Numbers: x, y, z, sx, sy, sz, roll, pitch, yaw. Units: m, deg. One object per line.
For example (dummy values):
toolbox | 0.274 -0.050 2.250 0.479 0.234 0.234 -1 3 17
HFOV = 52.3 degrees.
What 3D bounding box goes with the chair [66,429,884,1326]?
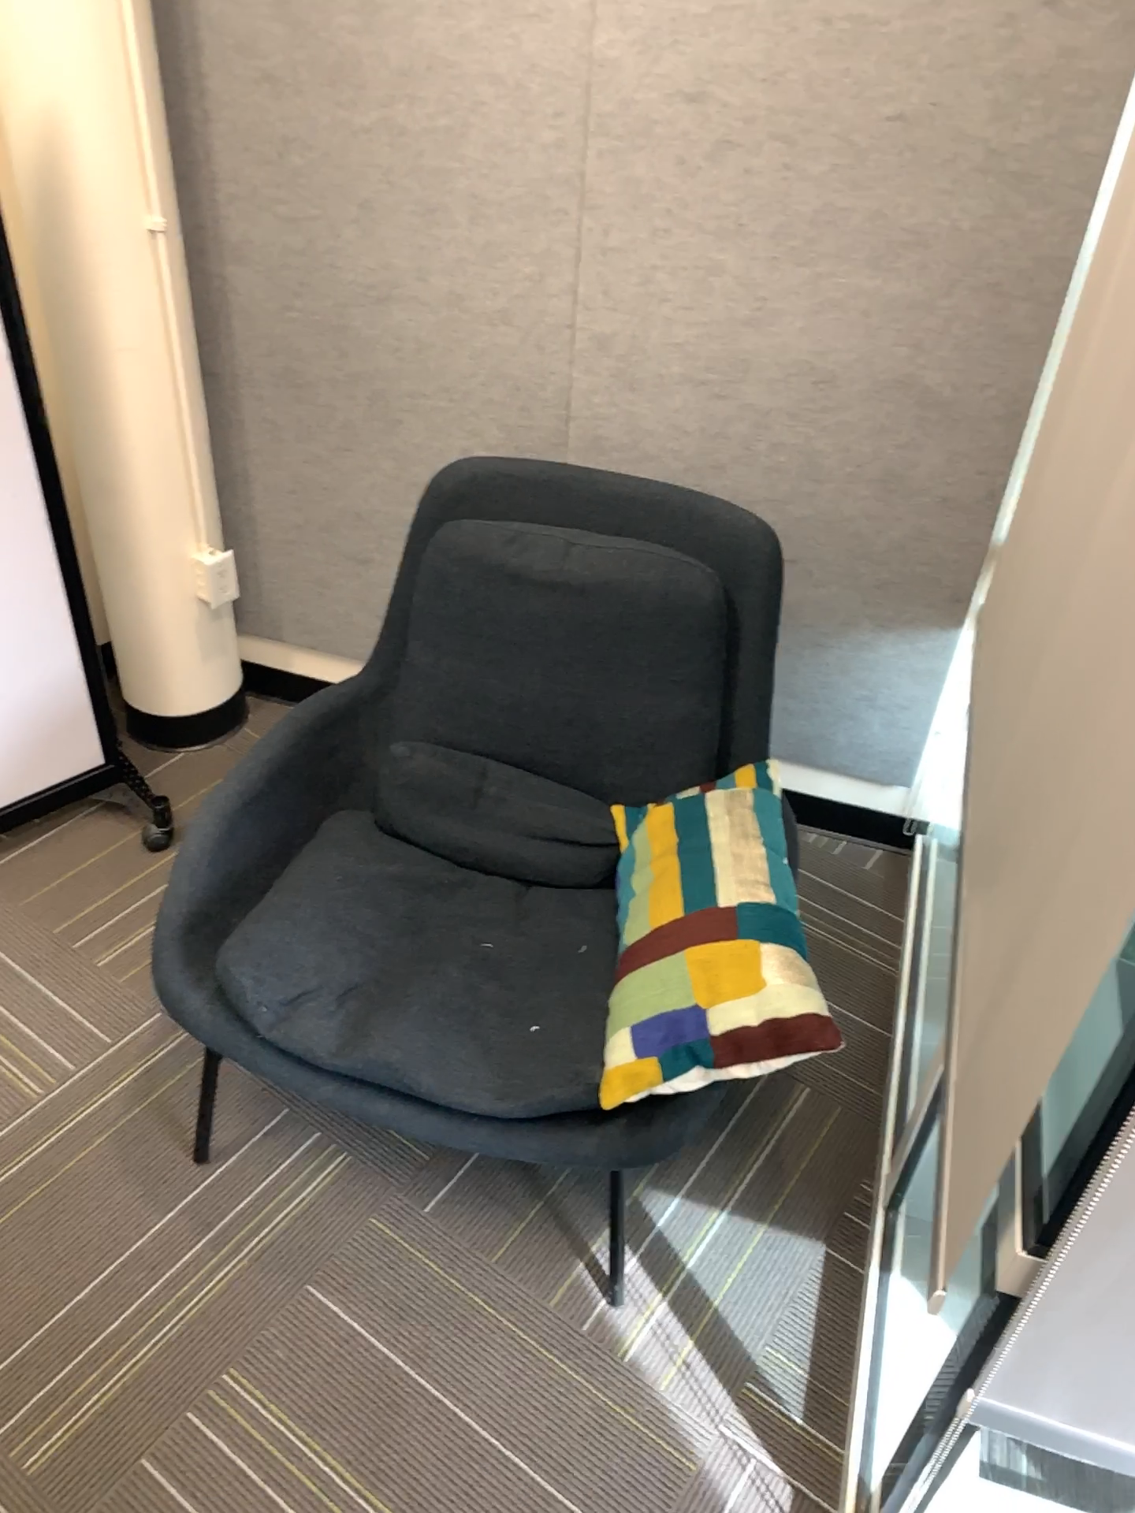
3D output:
chair | -0.065 0.107 1.894 0.791 0.816 1.004 18 40 16
